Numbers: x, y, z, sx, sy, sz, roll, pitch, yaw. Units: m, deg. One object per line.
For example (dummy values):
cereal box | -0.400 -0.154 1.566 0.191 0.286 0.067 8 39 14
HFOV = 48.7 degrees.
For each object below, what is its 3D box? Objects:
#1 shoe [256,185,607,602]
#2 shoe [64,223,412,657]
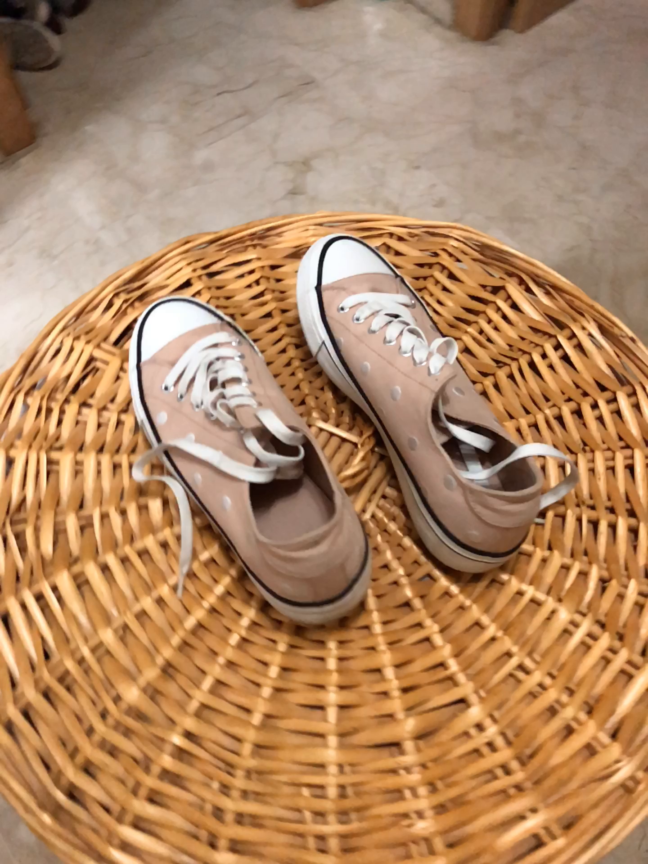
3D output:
shoe | 0.051 -0.034 0.463 0.093 0.095 0.246 -17 62 -22
shoe | -0.057 -0.004 0.432 0.087 0.085 0.247 -29 62 -14
